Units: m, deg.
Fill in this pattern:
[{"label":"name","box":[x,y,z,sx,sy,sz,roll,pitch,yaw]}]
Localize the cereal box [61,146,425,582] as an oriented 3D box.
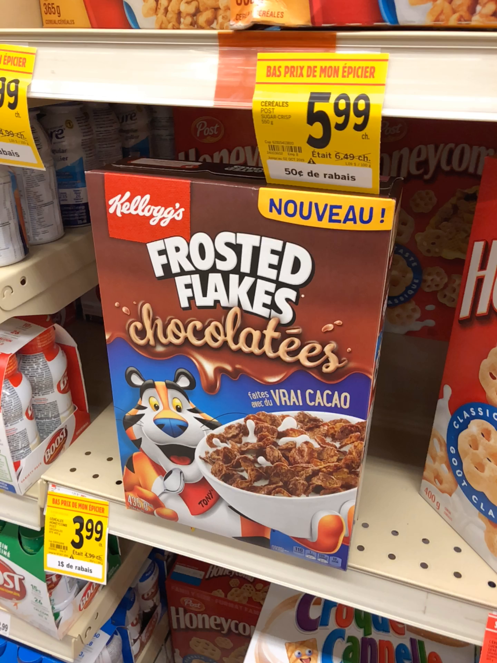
[{"label":"cereal box","box":[-0.006,0.024,0.396,0.210,0.278,0.070,10,28,17]}]
